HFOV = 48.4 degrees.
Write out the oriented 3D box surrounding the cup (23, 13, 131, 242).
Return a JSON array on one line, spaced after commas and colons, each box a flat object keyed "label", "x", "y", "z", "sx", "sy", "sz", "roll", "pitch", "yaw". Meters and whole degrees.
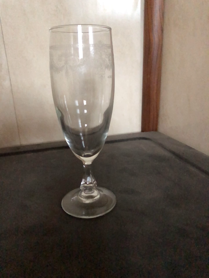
[{"label": "cup", "x": -0.020, "y": -0.009, "z": 0.206, "sx": 0.060, "sy": 0.169, "sz": 0.060, "roll": -2, "pitch": 17, "yaw": 1}]
